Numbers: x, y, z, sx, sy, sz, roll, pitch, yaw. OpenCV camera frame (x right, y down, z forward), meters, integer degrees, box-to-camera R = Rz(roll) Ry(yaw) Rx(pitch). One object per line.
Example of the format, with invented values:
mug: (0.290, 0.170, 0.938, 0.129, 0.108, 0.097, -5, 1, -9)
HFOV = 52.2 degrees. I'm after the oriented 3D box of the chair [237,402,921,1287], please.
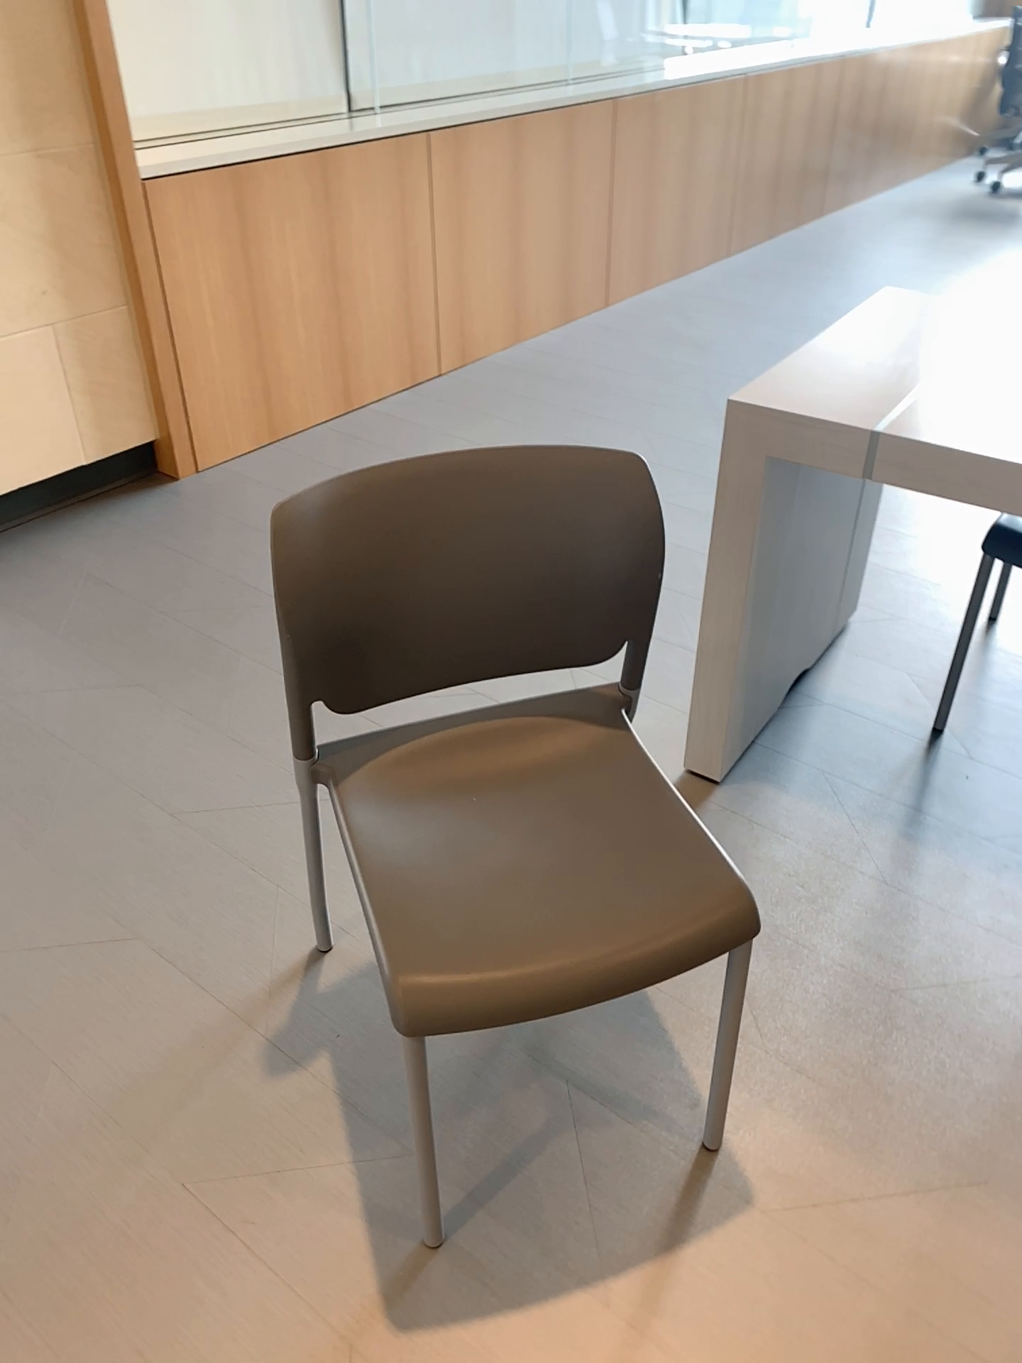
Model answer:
chair: (0.020, 0.168, 1.269, 0.501, 0.783, 0.574, -12, 36, -16)
